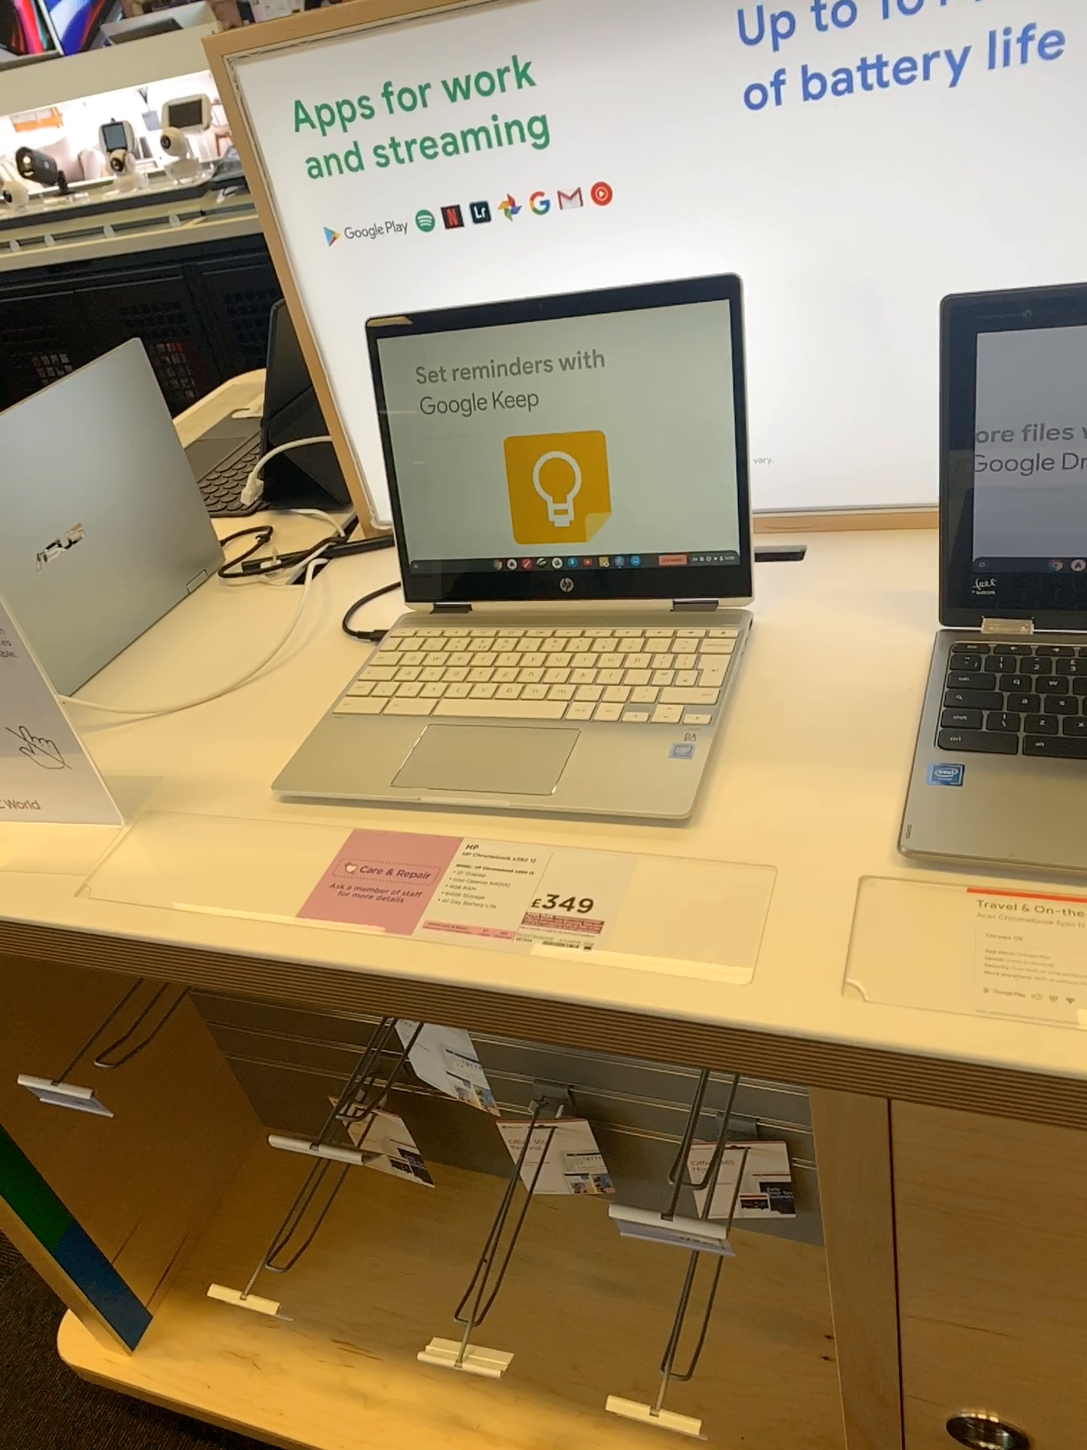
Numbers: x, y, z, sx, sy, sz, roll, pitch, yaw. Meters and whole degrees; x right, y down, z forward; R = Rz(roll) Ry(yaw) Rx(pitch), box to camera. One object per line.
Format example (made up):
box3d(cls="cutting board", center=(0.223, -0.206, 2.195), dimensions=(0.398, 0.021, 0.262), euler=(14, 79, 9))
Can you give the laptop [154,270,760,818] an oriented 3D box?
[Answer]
box3d(cls="laptop", center=(-0.026, -0.117, 0.684), dimensions=(0.258, 0.190, 0.271), euler=(2, 39, 22))
